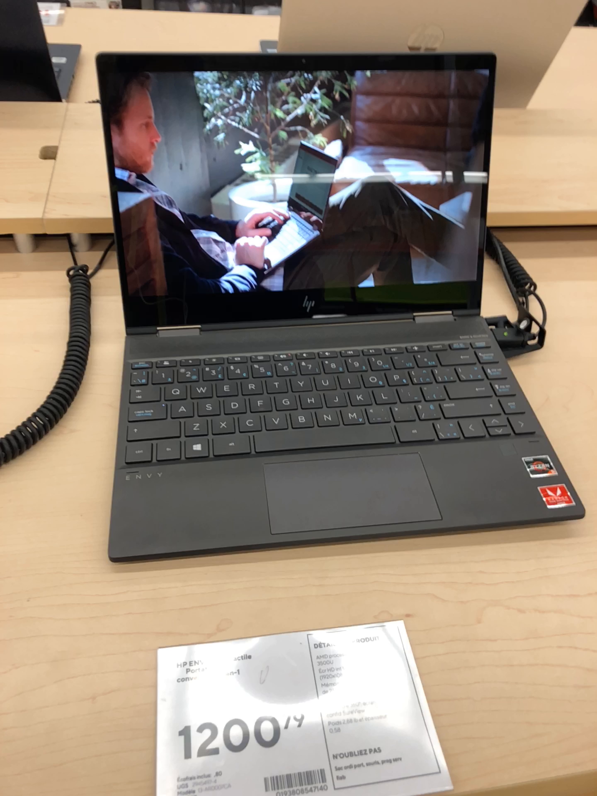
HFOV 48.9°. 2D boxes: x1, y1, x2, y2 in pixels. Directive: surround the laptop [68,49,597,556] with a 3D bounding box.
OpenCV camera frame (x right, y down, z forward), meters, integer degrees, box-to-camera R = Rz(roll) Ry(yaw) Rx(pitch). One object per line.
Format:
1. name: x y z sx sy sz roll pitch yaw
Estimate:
1. laptop: 0.024 -0.083 0.444 0.294 0.182 0.289 -4 46 -9
